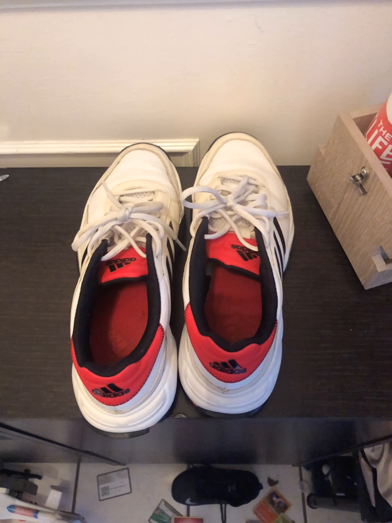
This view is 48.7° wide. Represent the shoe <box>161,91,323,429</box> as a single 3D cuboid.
[{"bbox_3d":[0.039,-0.014,0.414,0.110,0.100,0.311,2,61,3],"label":"shoe"}]

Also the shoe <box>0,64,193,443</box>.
[{"bbox_3d":[-0.061,-0.018,0.373,0.110,0.110,0.311,-1,61,1],"label":"shoe"}]
